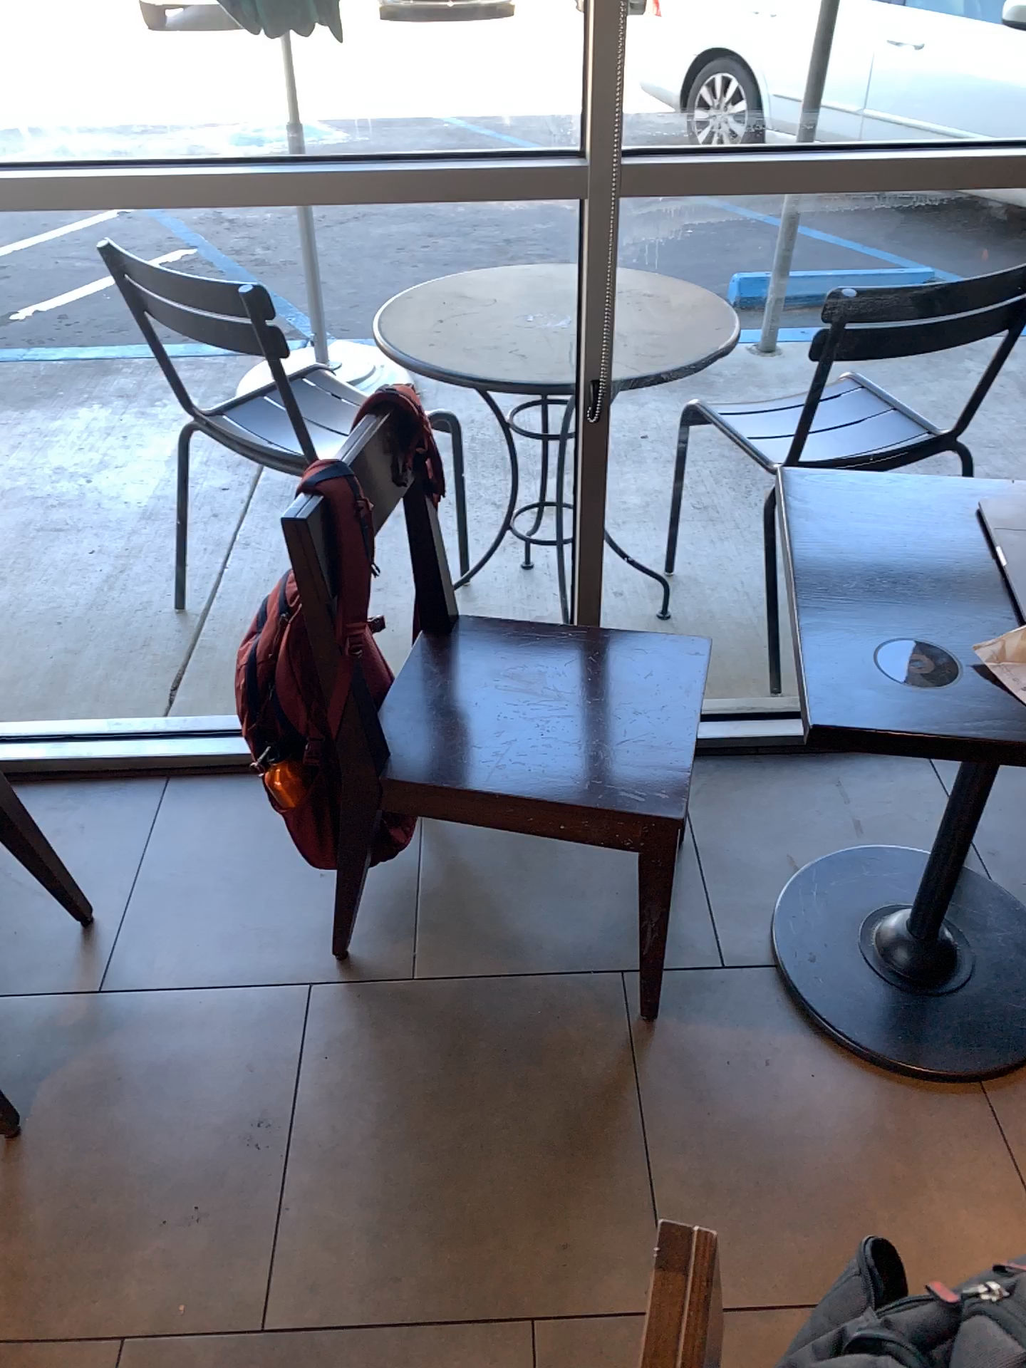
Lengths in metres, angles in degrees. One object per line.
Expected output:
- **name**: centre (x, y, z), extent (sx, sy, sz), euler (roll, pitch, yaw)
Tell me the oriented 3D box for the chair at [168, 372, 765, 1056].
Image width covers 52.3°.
- **chair**: centre (-0.006, 0.031, 1.812), extent (0.740, 0.855, 0.693), euler (7, 39, 10)
